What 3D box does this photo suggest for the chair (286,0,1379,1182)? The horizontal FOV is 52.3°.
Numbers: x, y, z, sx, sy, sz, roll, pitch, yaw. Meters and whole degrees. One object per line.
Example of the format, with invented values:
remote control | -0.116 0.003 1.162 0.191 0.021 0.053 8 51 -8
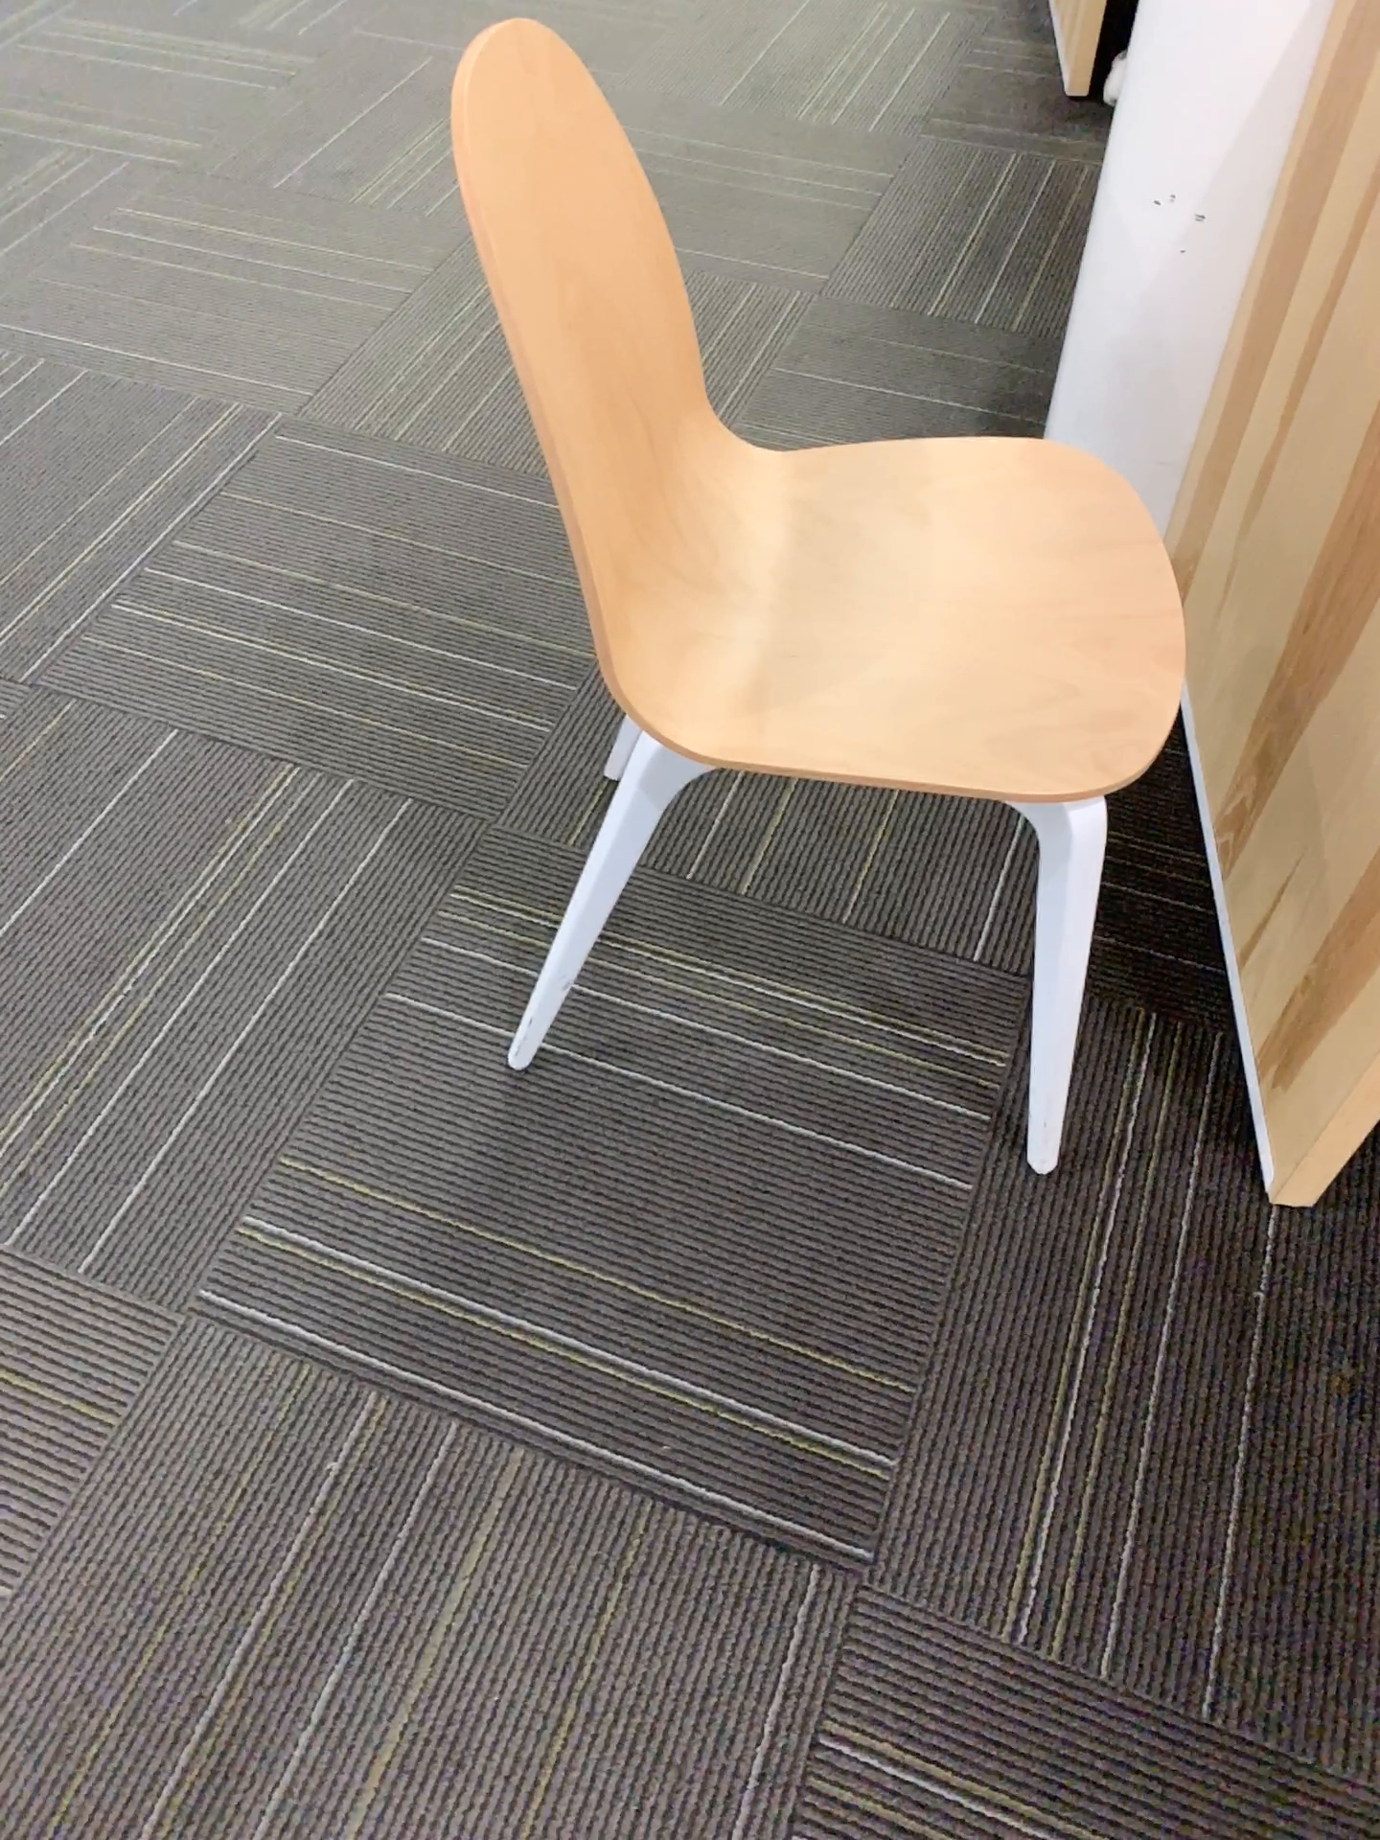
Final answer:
chair | 0.117 -0.247 1.127 0.550 0.816 0.502 8 53 6
